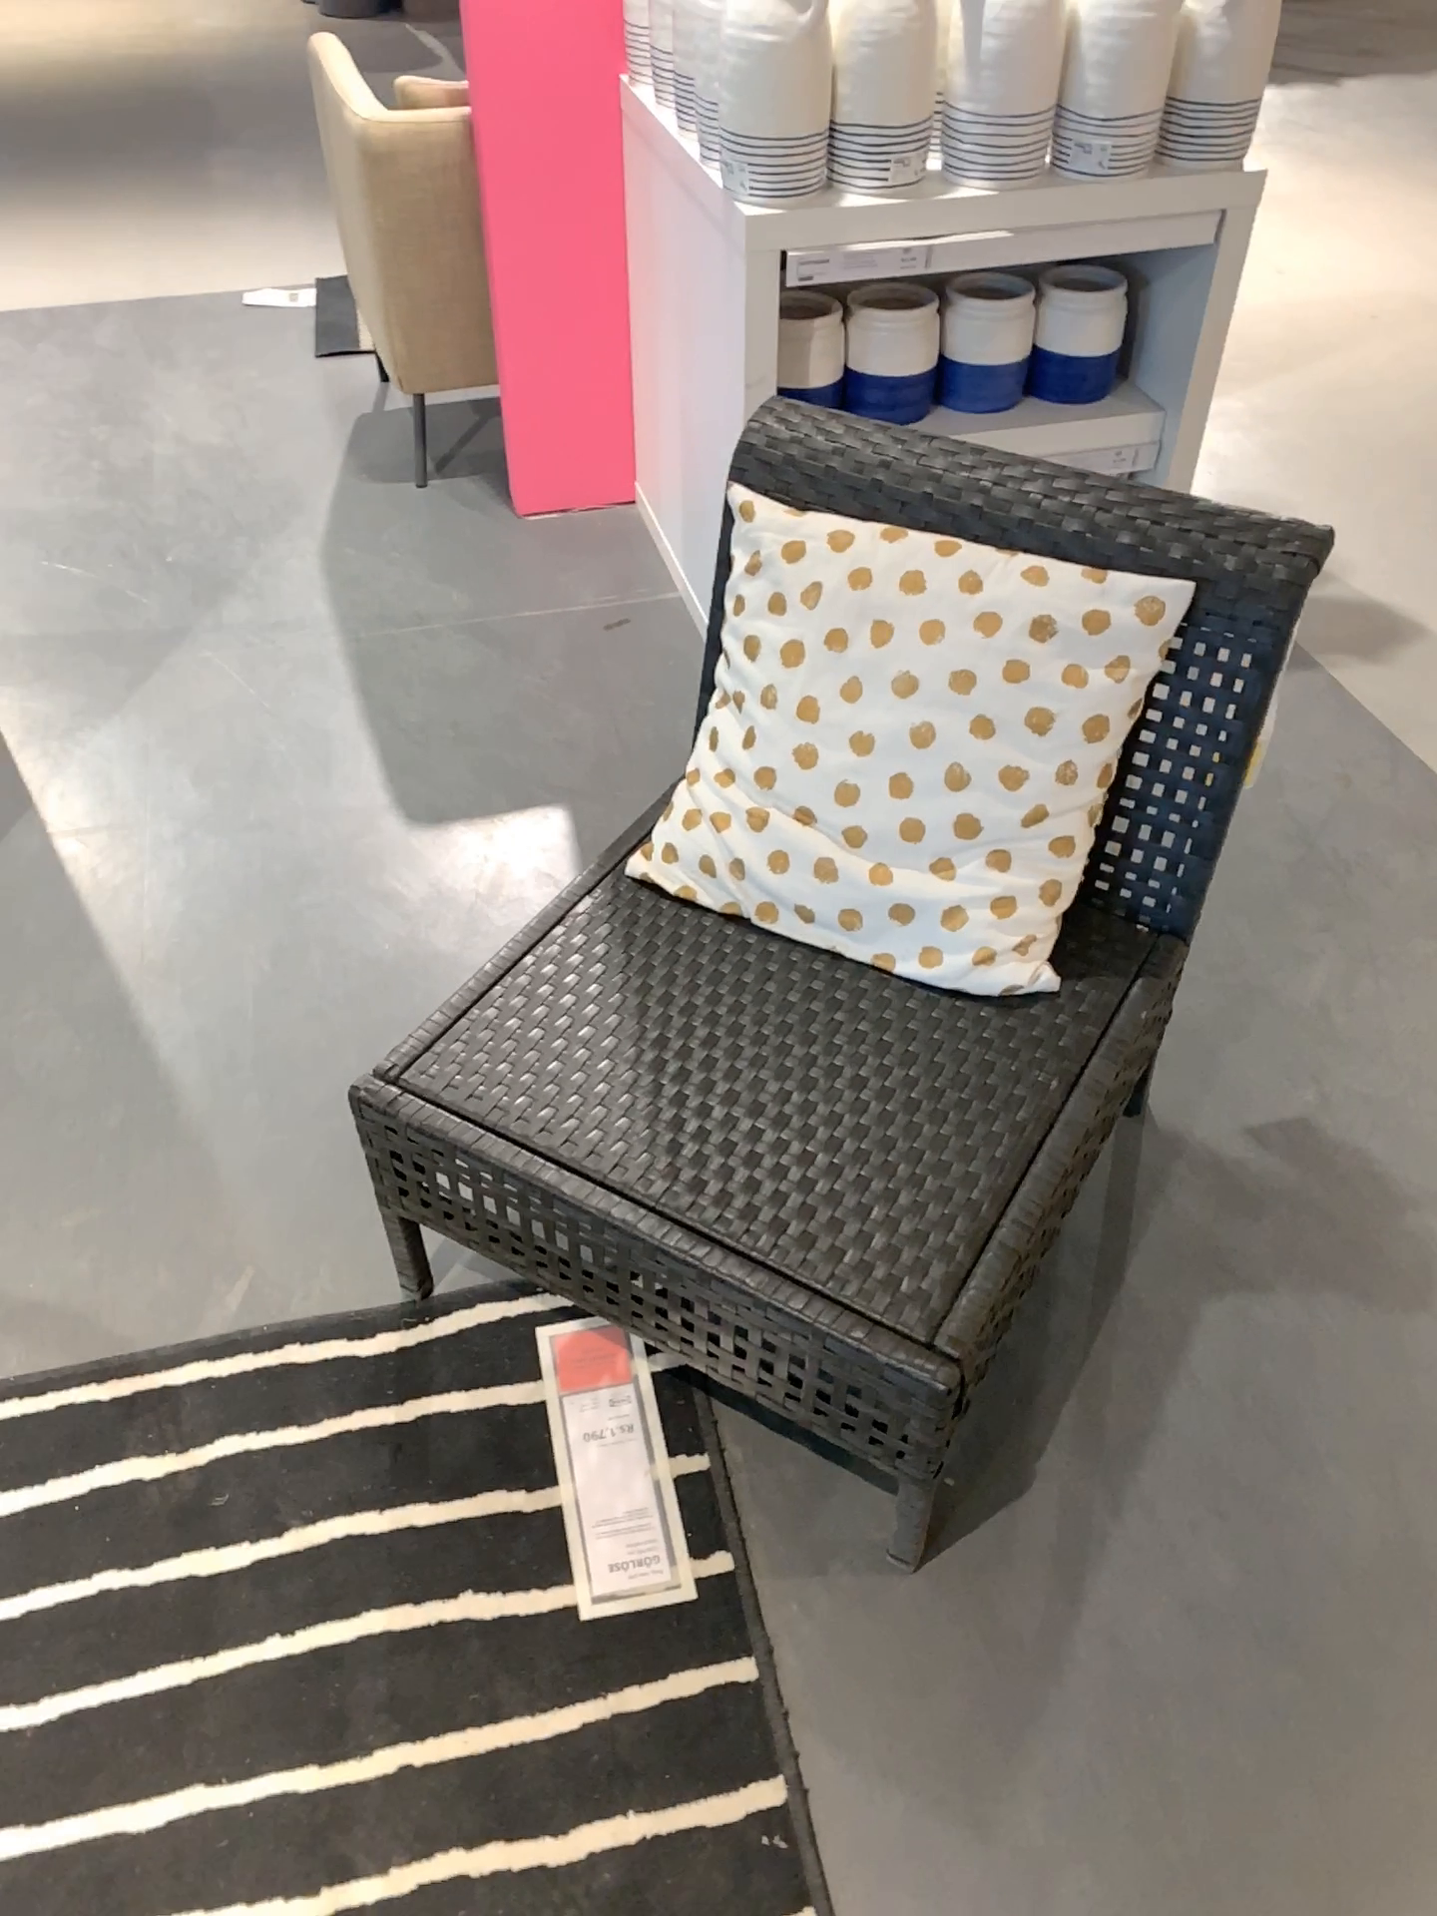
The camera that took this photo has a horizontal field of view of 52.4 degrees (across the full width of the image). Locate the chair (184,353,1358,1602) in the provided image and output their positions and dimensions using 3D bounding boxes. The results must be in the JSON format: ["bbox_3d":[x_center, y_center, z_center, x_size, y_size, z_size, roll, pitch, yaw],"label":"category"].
[{"bbox_3d":[0.091,-0.026,1.508,0.701,0.797,0.782,22,47,22],"label":"chair"}]
